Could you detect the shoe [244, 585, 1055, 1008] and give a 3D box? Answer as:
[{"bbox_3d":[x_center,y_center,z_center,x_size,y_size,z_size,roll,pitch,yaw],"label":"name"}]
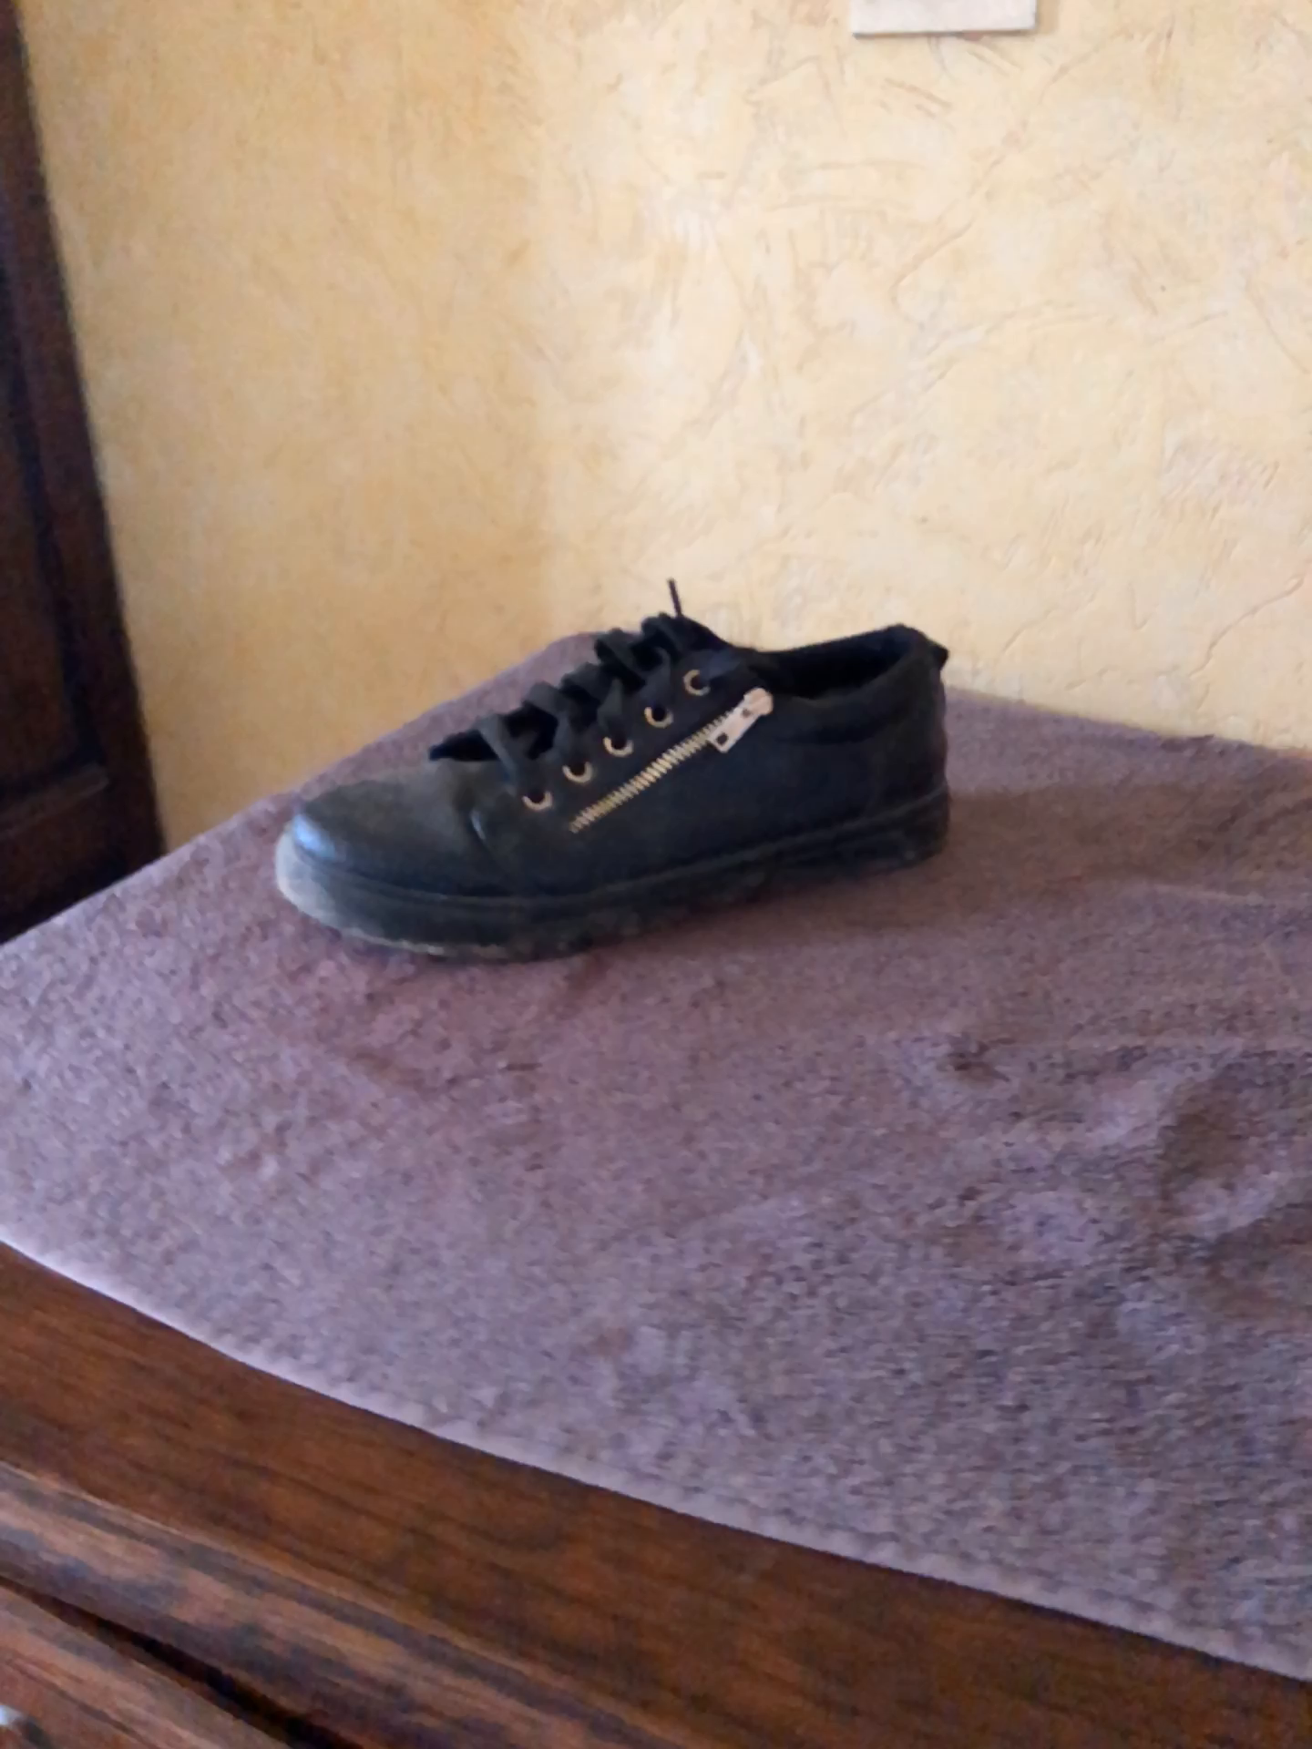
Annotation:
[{"bbox_3d":[-0.004,-0.037,0.535,0.271,0.089,0.100,-9,28,-16],"label":"shoe"}]
